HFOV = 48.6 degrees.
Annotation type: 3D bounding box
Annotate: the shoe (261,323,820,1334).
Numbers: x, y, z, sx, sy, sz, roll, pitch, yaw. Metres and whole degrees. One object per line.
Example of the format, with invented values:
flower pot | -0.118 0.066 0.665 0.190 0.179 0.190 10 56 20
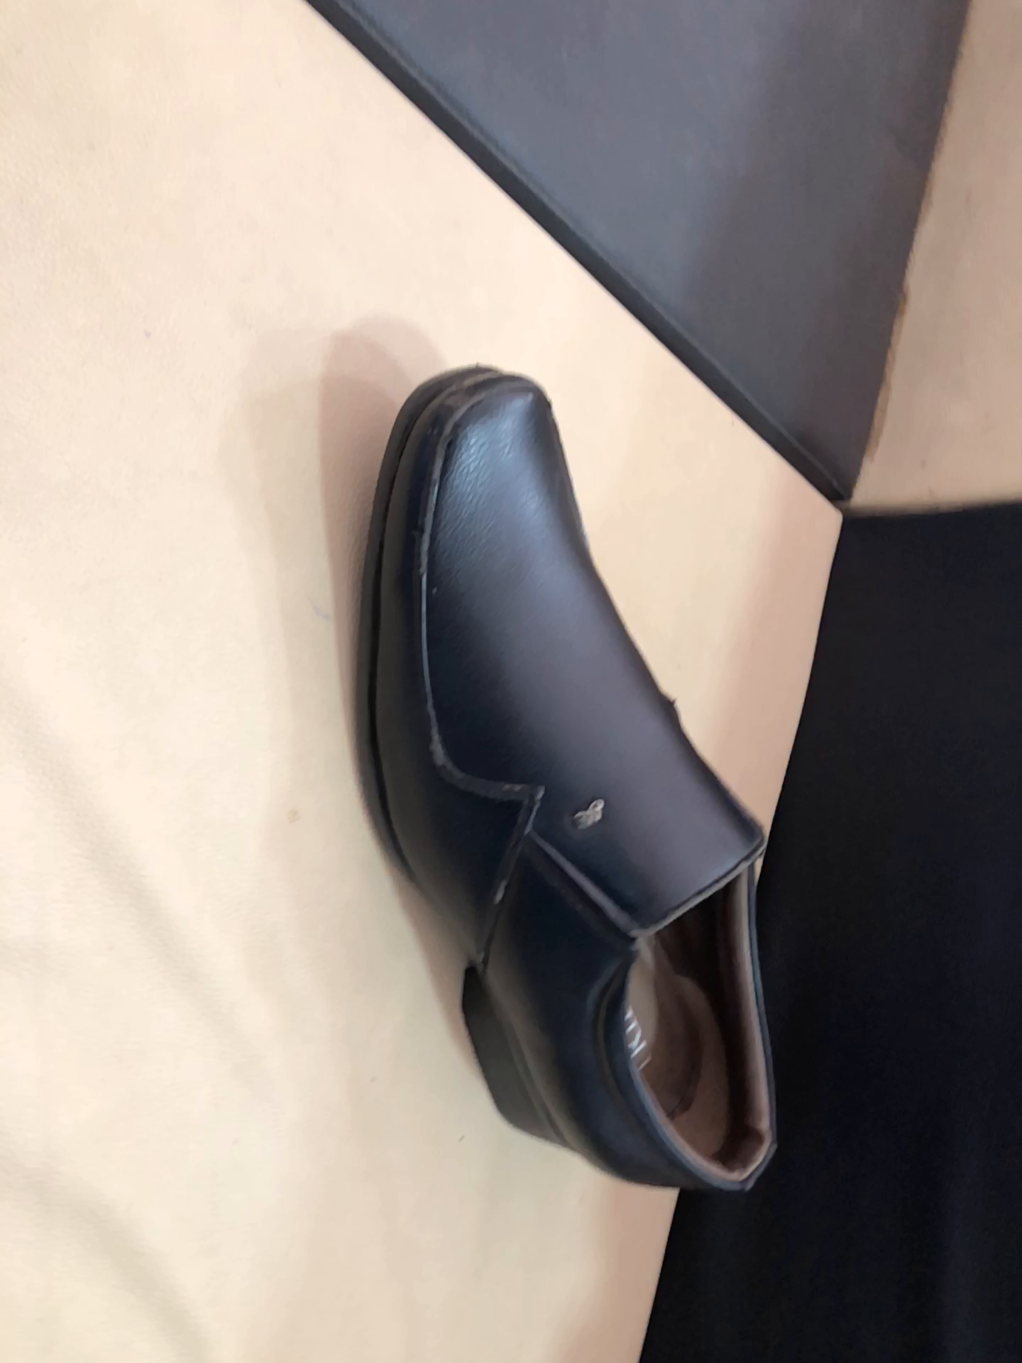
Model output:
shoe | 0.021 0.047 0.382 0.101 0.089 0.301 -26 112 -40
